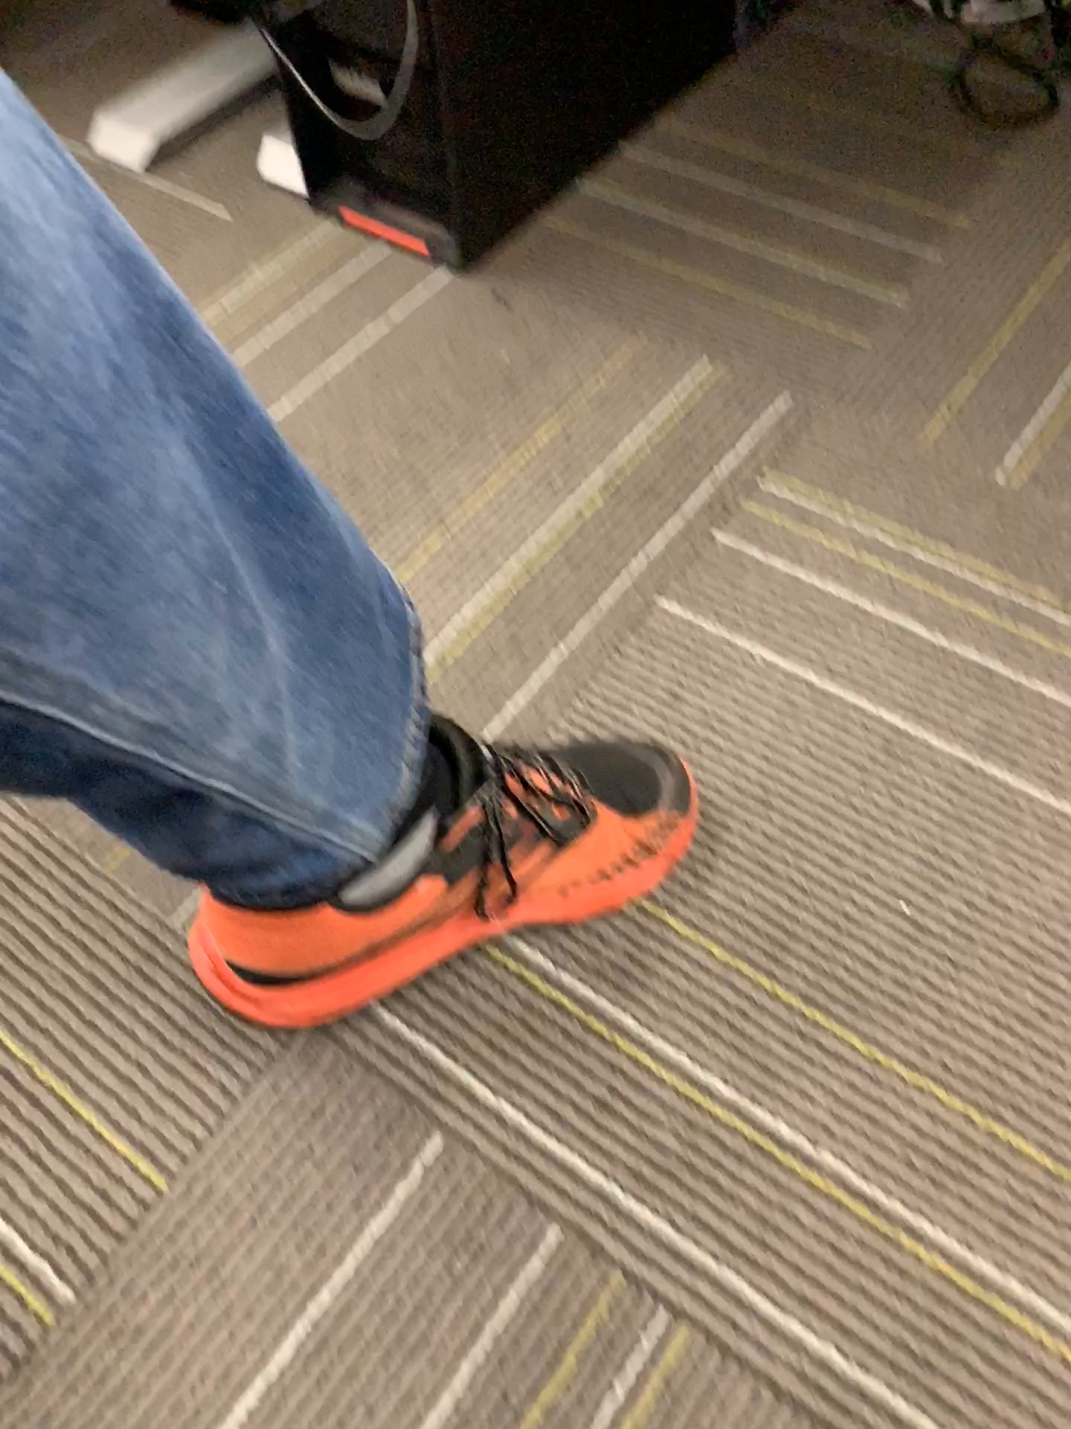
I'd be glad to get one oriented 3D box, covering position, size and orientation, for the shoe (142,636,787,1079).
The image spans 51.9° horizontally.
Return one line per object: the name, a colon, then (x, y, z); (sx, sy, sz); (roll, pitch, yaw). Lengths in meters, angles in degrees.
shoe: (-0.032, 0.058, 0.595); (0.314, 0.106, 0.126); (-12, 44, -35)
